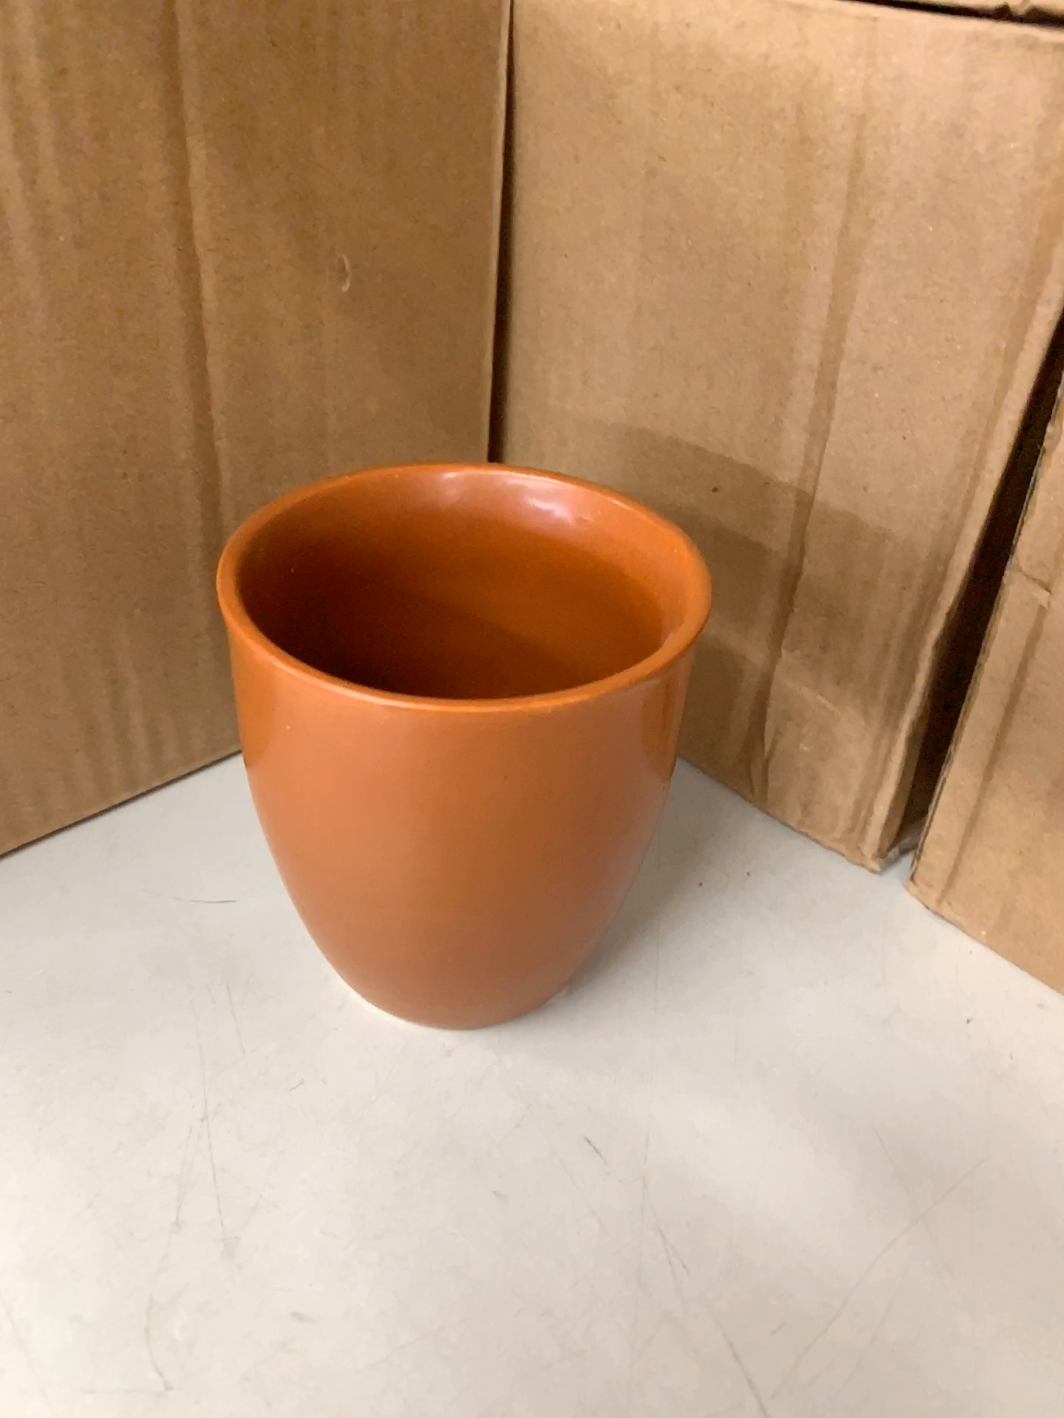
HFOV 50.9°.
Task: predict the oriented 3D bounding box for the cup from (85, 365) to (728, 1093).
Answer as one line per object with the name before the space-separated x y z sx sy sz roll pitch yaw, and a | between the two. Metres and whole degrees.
cup | -0.012 0.000 0.178 0.070 0.079 0.071 1 37 -1
